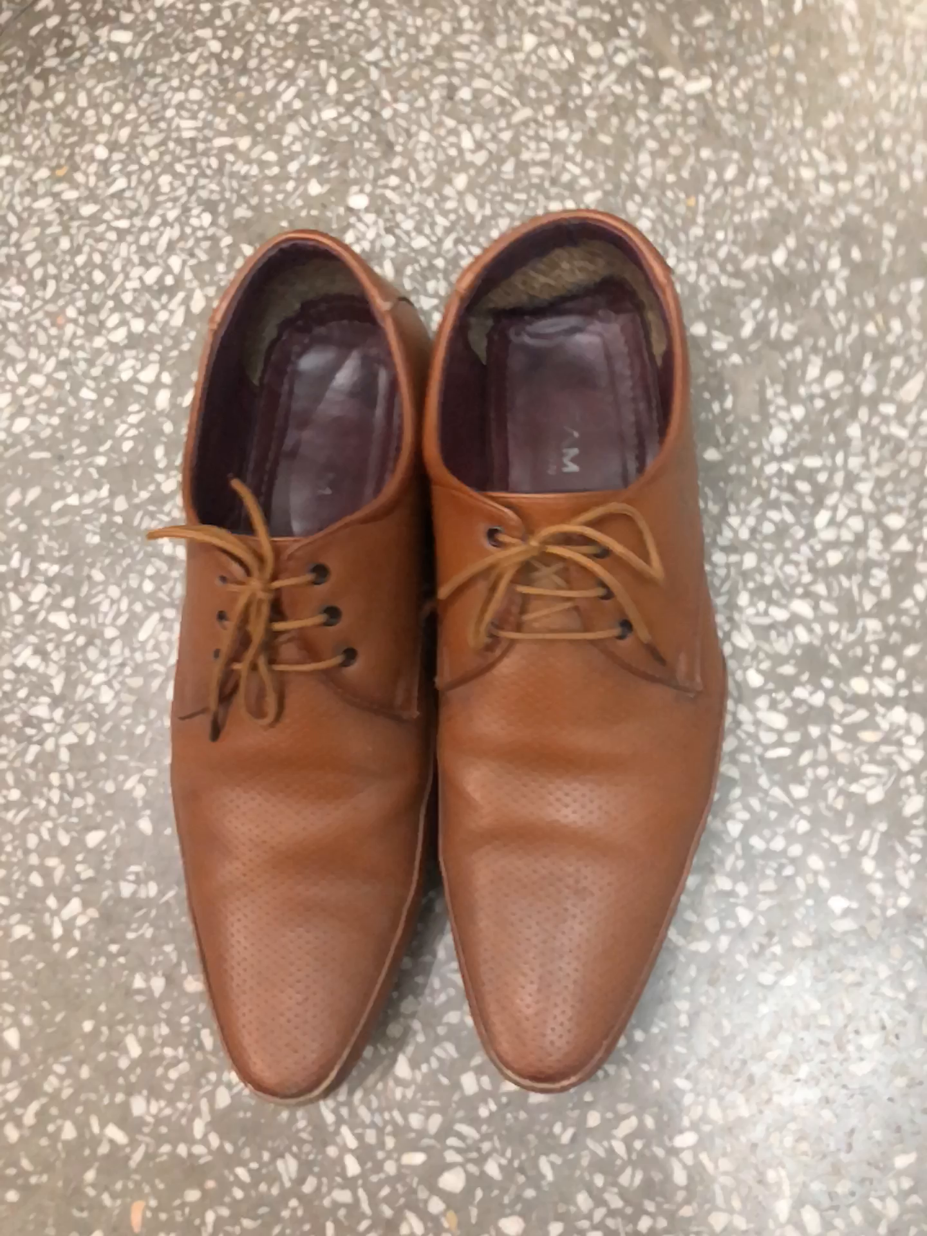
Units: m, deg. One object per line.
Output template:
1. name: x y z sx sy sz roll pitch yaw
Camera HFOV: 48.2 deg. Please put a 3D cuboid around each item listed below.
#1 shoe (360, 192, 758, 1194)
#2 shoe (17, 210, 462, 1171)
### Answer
1. shoe: 0.035 0.020 0.358 0.105 0.118 0.284 -1 79 8
2. shoe: -0.064 0.021 0.370 0.105 0.118 0.284 -1 79 8
